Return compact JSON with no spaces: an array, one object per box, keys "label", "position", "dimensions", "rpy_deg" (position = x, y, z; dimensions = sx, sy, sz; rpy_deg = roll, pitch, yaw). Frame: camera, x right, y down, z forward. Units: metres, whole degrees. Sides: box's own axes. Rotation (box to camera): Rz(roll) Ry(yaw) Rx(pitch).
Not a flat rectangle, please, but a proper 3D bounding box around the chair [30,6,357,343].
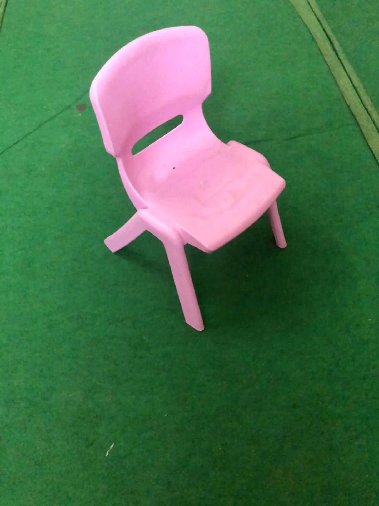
[{"label":"chair","position":[0.008,-0.158,0.895],"dimensions":[0.410,0.449,0.380],"rpy_deg":[35,61,21]}]
